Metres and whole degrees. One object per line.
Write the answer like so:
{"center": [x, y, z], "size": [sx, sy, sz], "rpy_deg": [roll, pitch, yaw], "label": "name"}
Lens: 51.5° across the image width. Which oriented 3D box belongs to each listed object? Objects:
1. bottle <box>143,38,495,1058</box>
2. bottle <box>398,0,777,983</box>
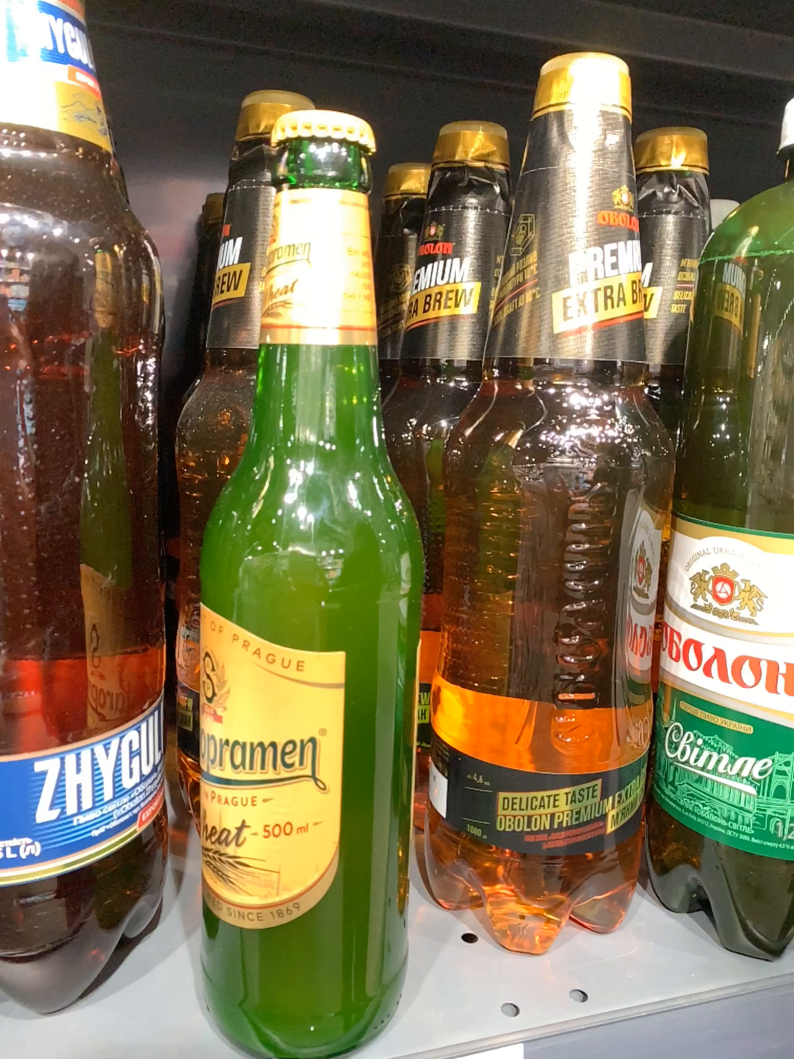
{"center": [-0.022, 0.016, 0.235], "size": [0.062, 0.255, 0.068], "rpy_deg": [2, 10, 0], "label": "bottle"}
{"center": [0.054, -0.007, 0.267], "size": [0.075, 0.270, 0.066], "rpy_deg": [-4, 12, -30], "label": "bottle"}
